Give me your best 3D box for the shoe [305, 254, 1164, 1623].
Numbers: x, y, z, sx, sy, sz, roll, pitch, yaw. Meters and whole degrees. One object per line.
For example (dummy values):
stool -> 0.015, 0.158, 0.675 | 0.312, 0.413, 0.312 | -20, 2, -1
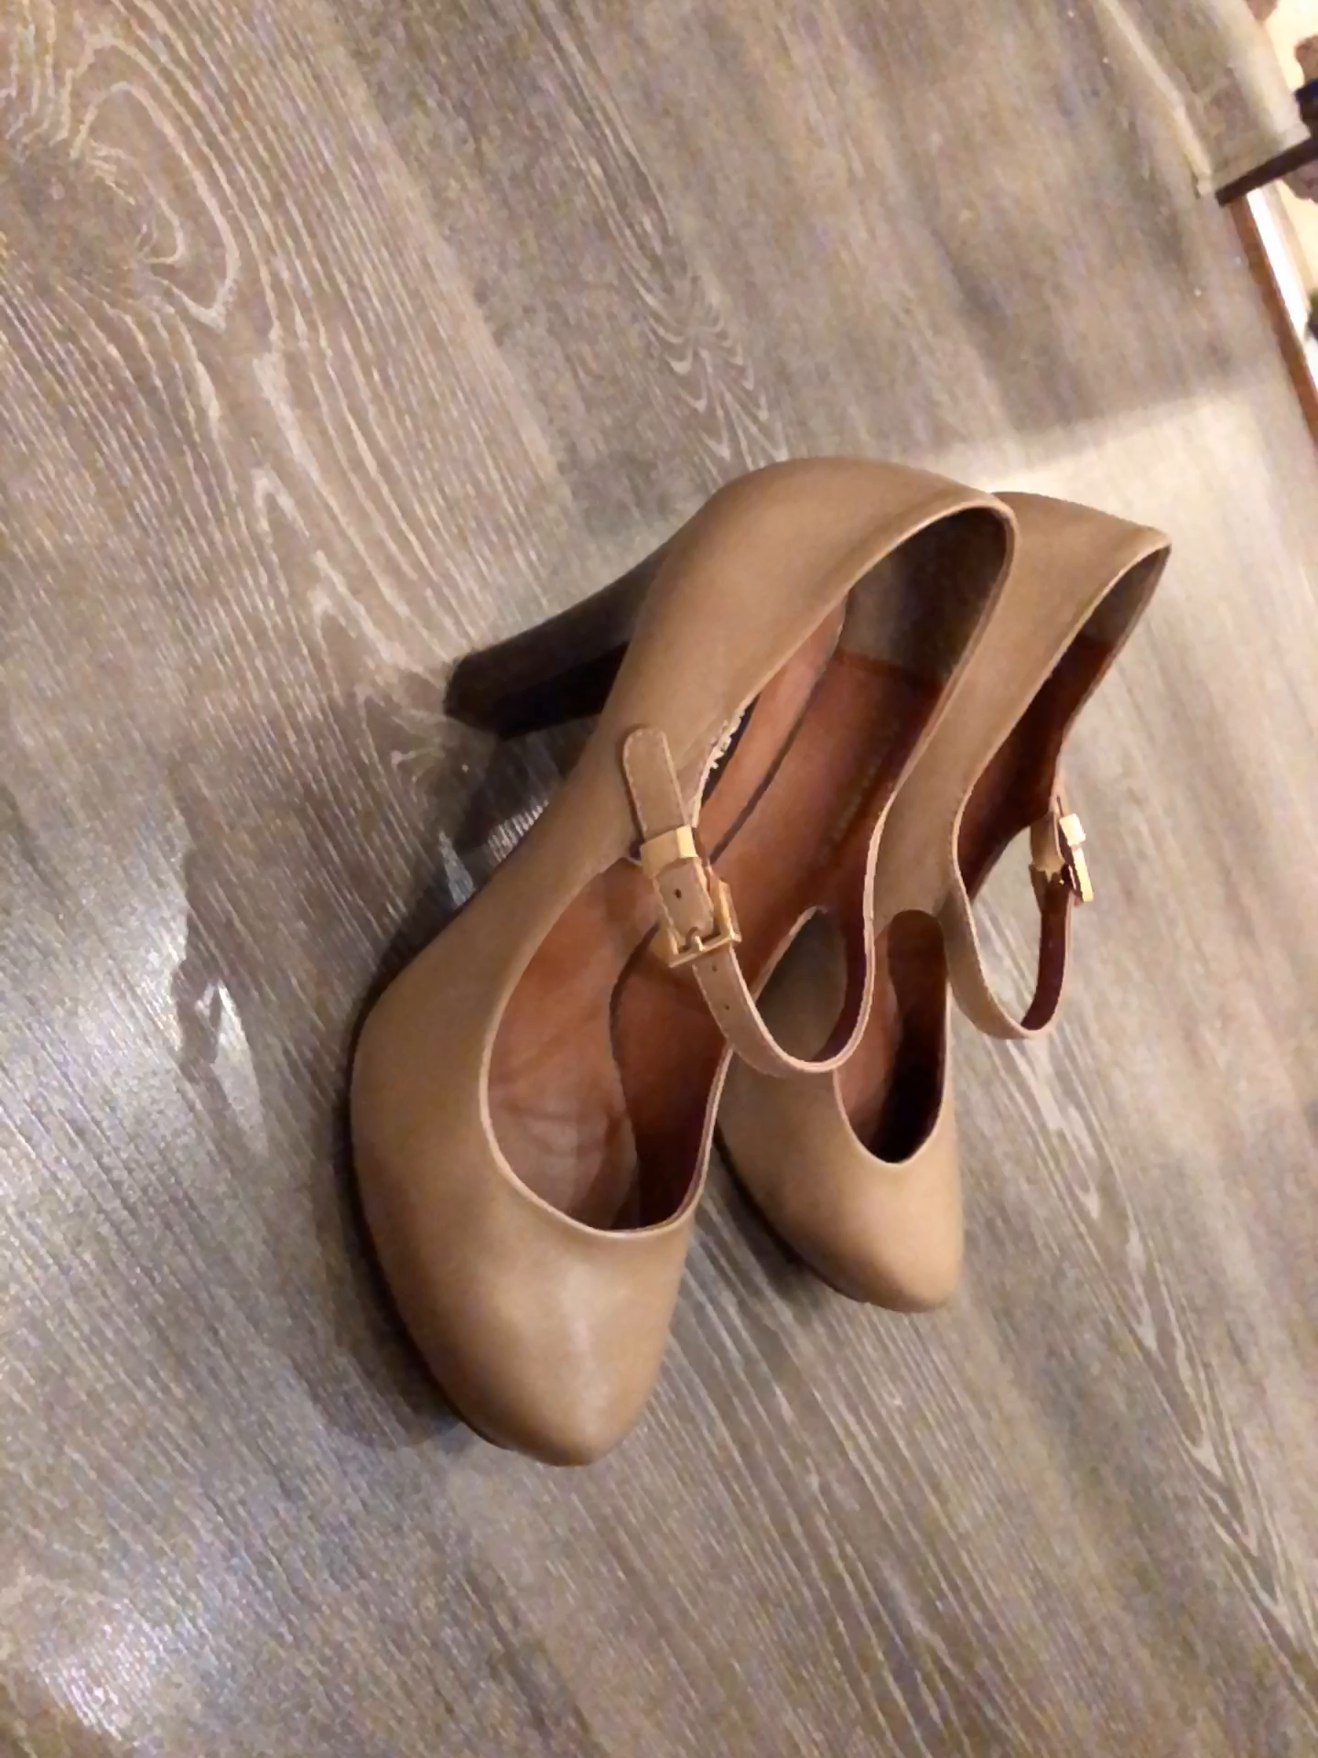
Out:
shoe -> 0.007, 0.017, 0.314 | 0.090, 0.149, 0.220 | 11, 72, -42

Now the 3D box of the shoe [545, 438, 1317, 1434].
shoe -> 0.083, 0.017, 0.386 | 0.091, 0.159, 0.210 | -19, 94, -45
